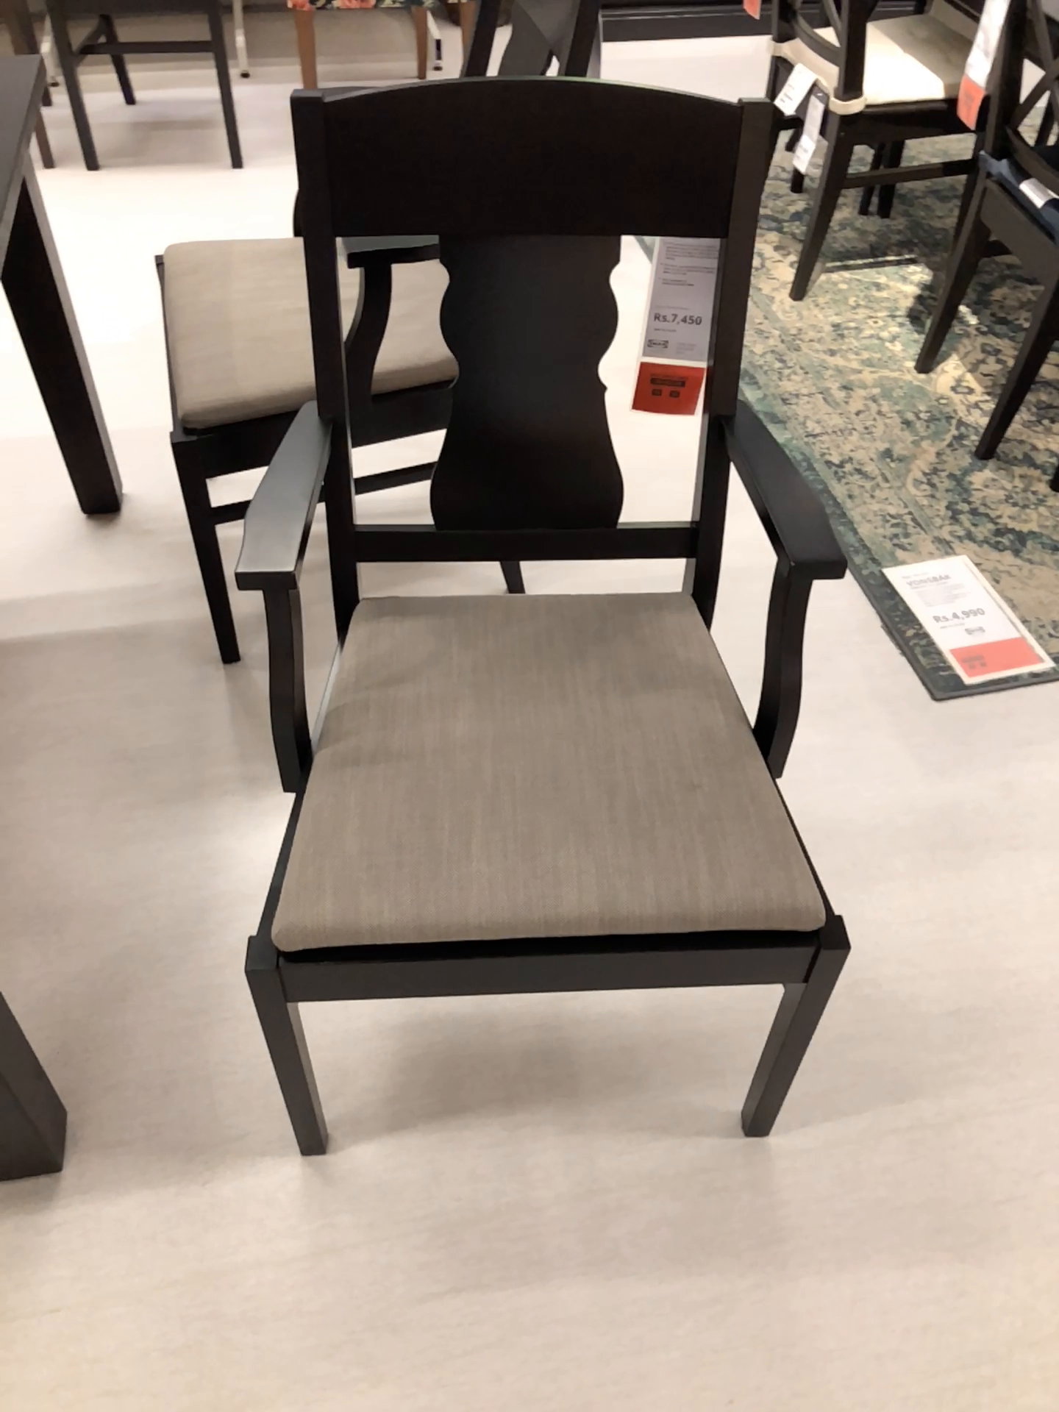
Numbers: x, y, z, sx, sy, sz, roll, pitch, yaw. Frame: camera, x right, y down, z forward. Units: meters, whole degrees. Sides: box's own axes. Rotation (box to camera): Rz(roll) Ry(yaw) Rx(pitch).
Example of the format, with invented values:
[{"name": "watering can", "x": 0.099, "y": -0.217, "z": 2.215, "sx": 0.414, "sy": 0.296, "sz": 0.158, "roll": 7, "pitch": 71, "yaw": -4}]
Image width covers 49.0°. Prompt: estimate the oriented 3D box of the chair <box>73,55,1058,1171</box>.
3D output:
[{"name": "chair", "x": 0.013, "y": -0.021, "z": 1.187, "sx": 0.570, "sy": 0.994, "sz": 0.573, "roll": -2, "pitch": 48, "yaw": -4}]
